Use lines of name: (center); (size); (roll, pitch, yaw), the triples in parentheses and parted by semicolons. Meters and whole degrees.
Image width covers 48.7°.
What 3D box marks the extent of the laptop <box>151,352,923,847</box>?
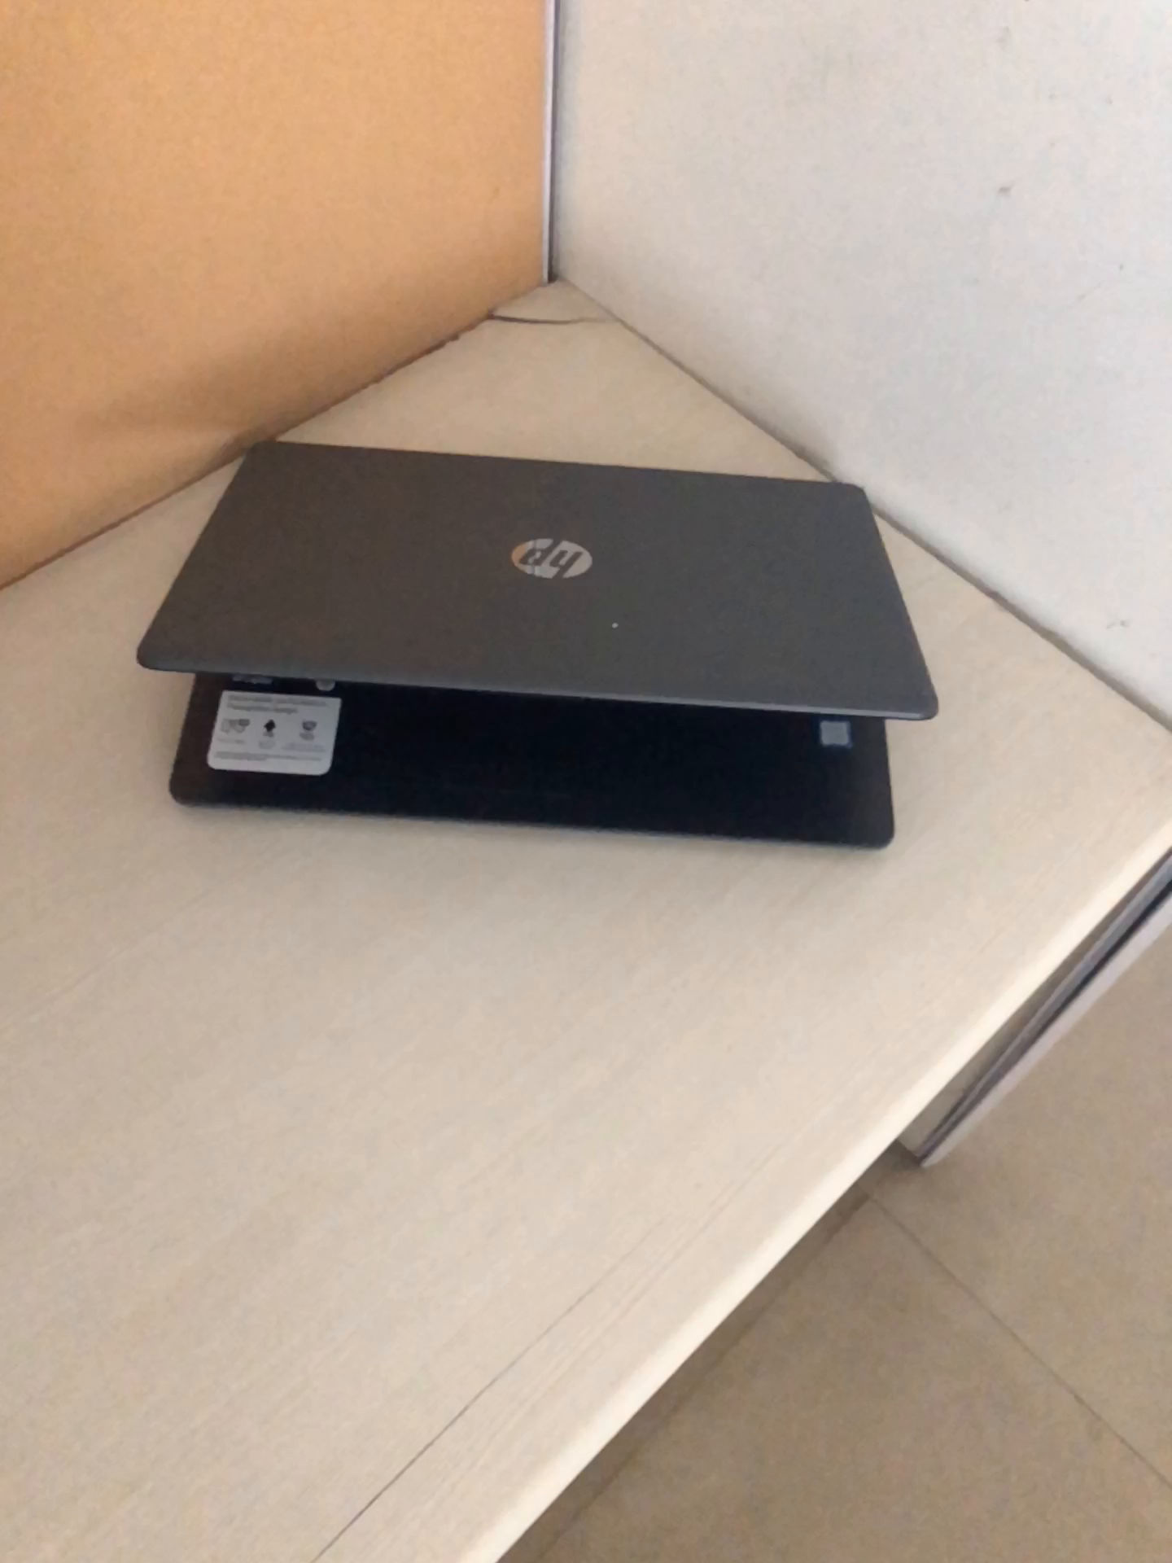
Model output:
laptop: (-0.020, -0.102, 0.694); (0.361, 0.074, 0.238); (4, 60, -1)
